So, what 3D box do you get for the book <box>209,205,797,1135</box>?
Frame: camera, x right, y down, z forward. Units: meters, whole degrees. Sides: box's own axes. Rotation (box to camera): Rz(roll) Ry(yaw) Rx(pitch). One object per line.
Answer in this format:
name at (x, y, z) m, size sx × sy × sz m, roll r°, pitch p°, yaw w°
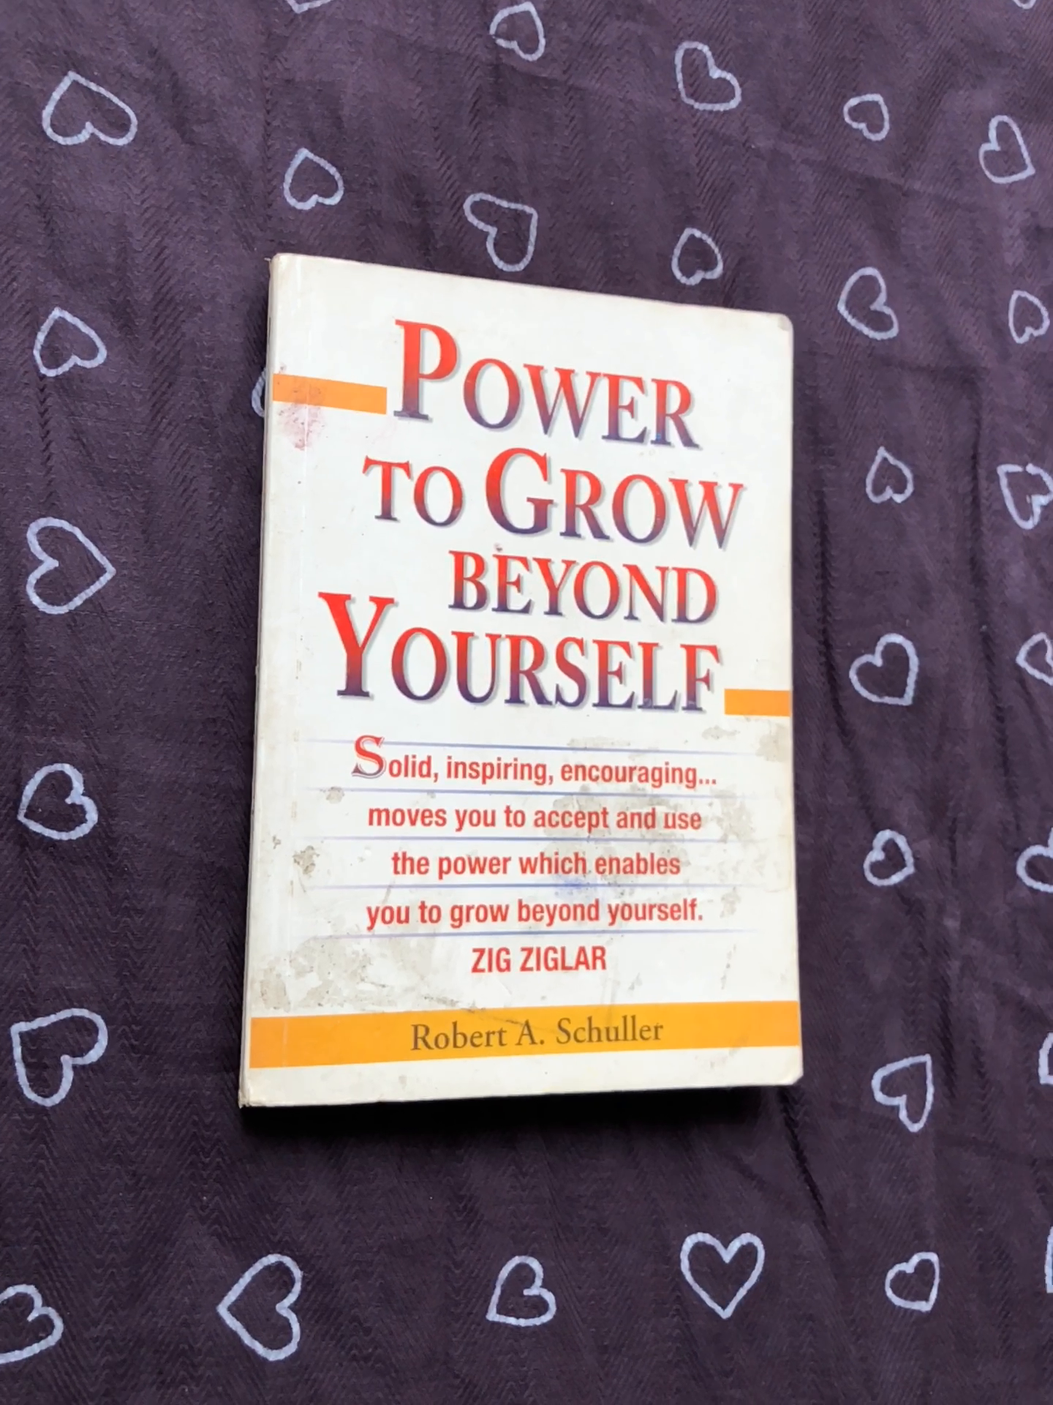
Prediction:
book at (-0.002, -0.006, 0.259) m, size 0.120 × 0.030 × 0.180 m, roll 3°, pitch 82°, yaw -19°
